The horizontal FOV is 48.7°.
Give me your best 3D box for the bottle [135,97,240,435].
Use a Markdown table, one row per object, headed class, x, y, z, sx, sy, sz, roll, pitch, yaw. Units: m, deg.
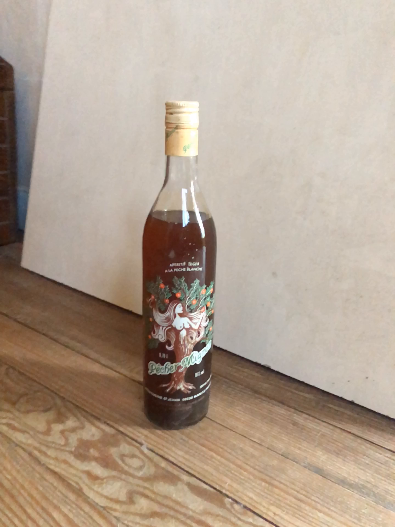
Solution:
| class | x | y | z | sx | sy | sz | roll | pitch | yaw |
| --- | --- | --- | --- | --- | --- | --- | --- | --- | --- |
| bottle | -0.019 | 0.012 | 0.422 | 0.080 | 0.318 | 0.070 | 0 | 22 | -8 |
